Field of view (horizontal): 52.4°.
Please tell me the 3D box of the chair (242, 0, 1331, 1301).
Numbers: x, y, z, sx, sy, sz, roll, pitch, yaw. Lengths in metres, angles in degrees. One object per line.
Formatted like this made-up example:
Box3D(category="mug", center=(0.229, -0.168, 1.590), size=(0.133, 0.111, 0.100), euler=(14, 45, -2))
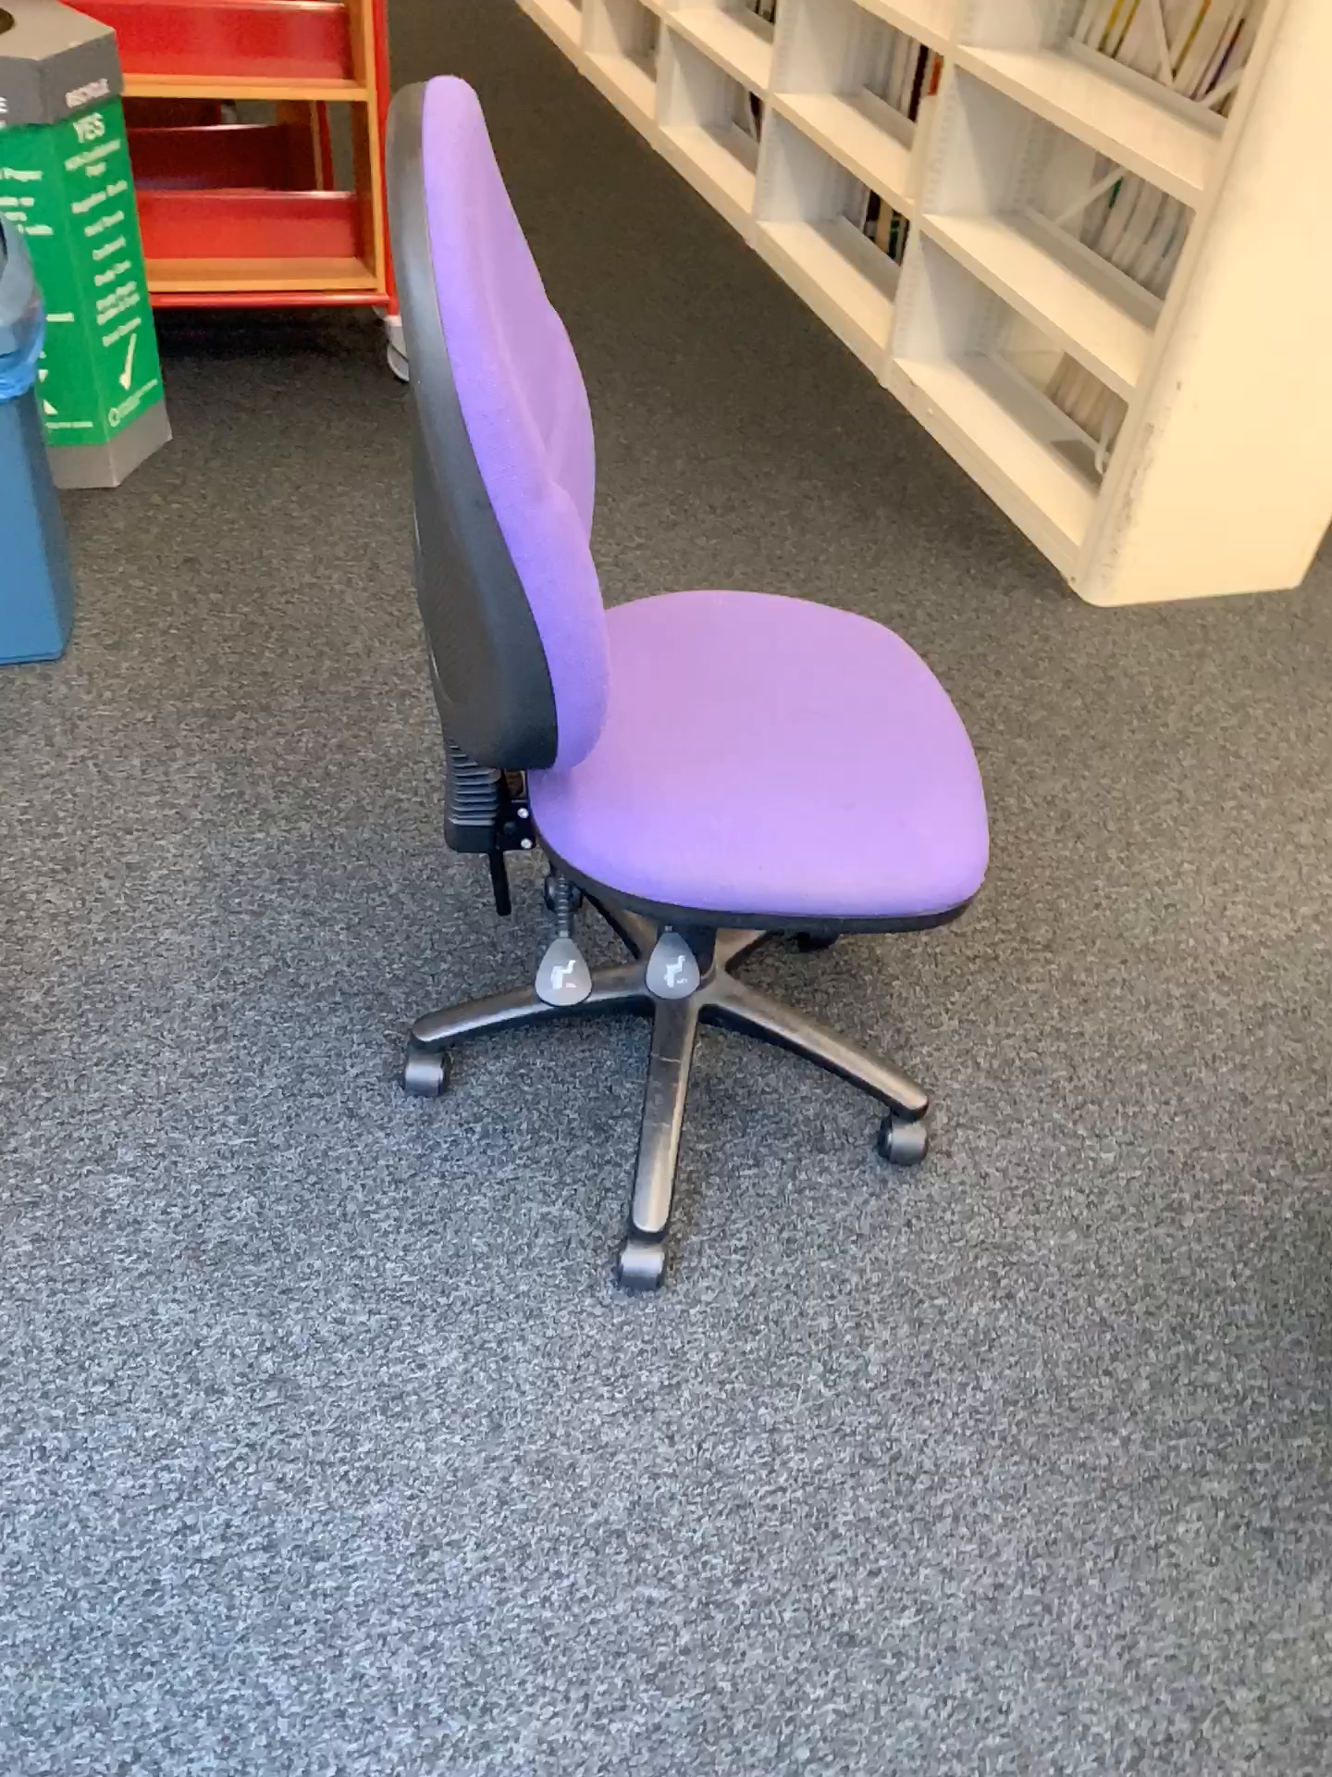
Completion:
Box3D(category="chair", center=(0.032, -0.182, 1.281), size=(0.634, 0.983, 0.675), euler=(0, 43, -7))
